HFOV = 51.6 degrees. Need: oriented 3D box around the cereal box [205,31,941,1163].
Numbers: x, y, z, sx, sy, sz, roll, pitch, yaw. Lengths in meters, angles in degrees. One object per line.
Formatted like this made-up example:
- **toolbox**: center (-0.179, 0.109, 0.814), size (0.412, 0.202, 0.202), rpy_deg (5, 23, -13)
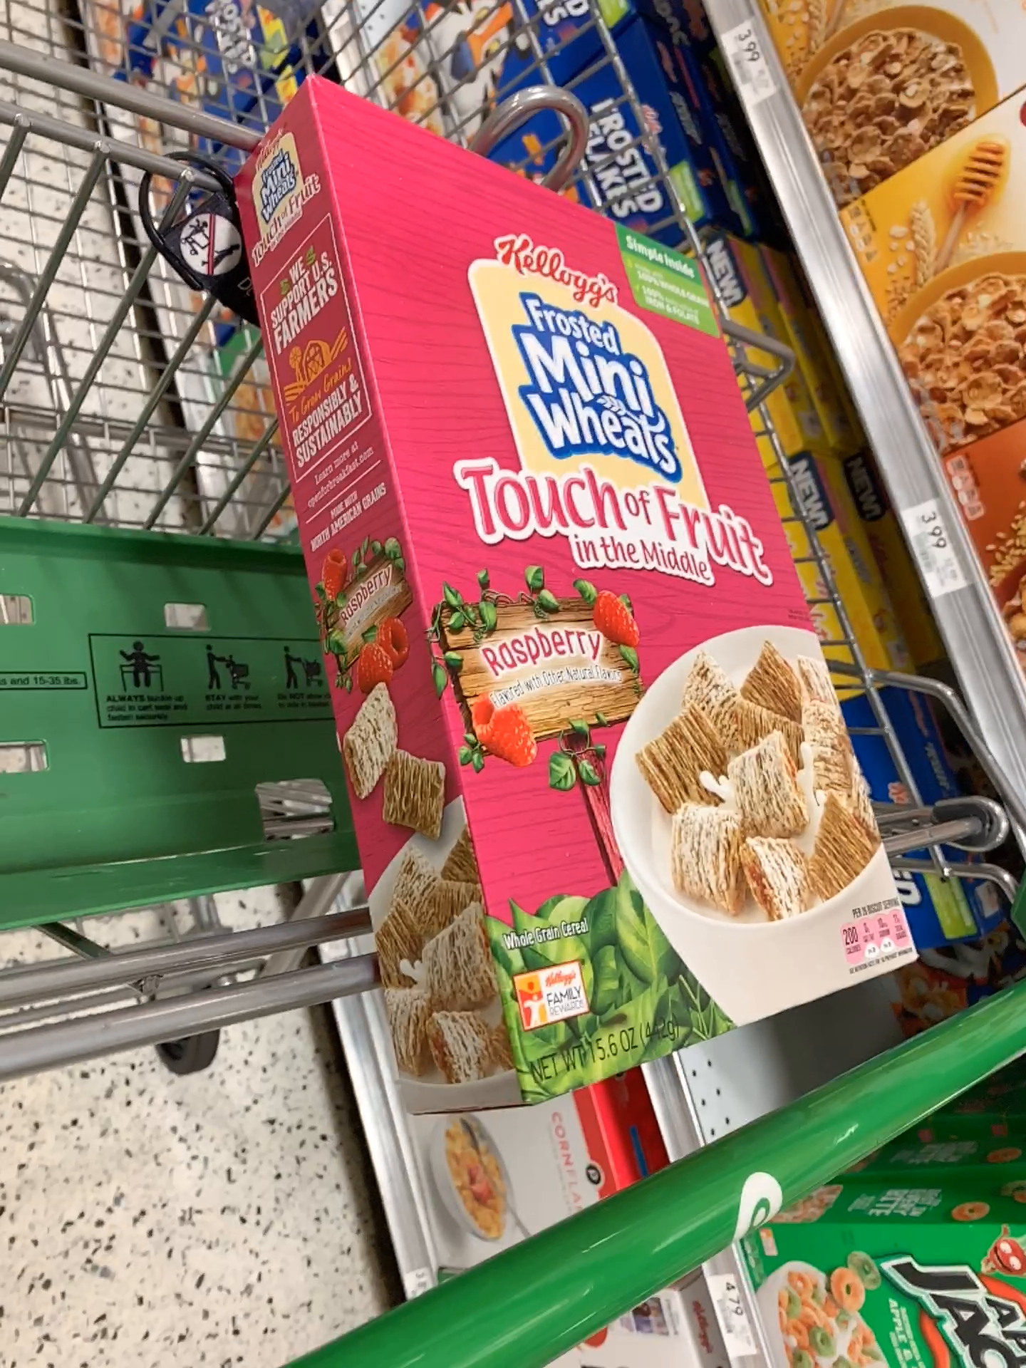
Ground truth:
- **cereal box**: center (0.026, -0.031, 0.341), size (0.201, 0.050, 0.291), rpy_deg (1, 70, -45)
